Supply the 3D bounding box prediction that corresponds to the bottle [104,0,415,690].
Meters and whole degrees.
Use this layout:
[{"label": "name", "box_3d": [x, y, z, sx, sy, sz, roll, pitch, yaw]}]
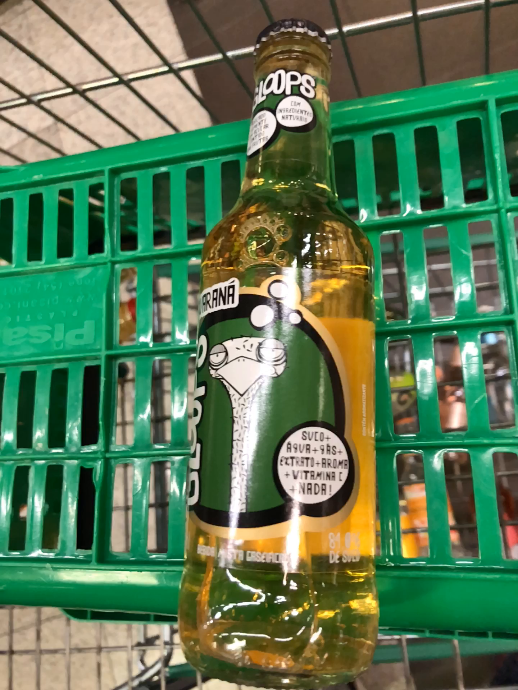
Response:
[{"label": "bottle", "box_3d": [0.006, -0.010, 0.179, 0.070, 0.060, 0.220, -3, 79, 17]}]
